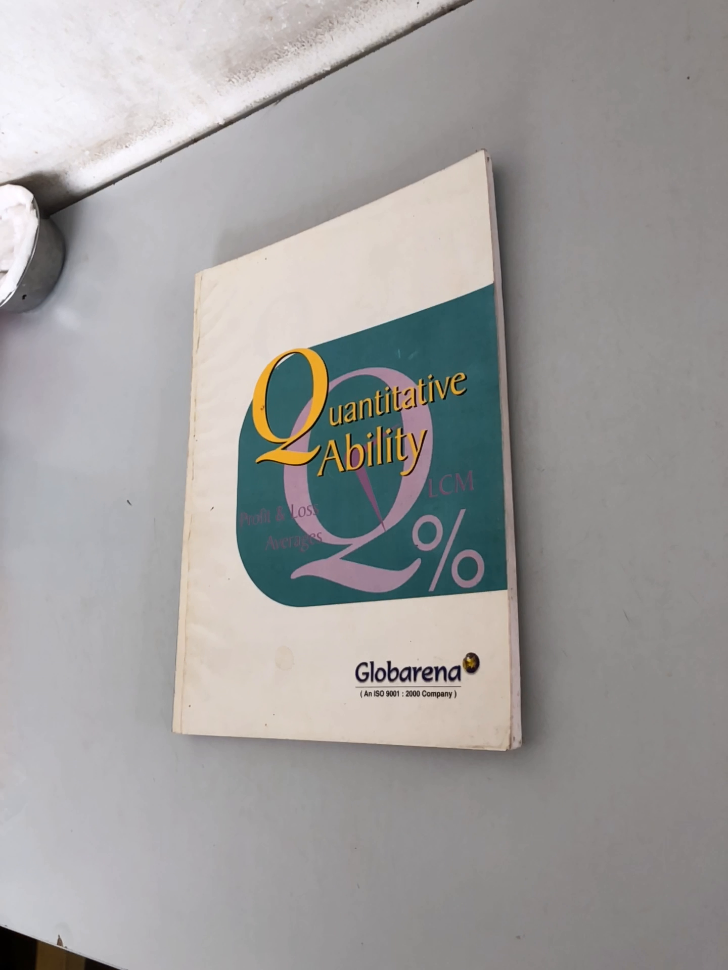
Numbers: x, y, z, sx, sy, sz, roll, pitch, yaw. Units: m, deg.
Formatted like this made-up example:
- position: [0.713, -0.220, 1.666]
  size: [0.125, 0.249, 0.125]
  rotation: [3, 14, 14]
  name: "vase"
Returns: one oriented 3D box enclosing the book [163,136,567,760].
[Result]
- position: [-0.012, -0.009, 0.362]
  size: [0.191, 0.020, 0.240]
  rotation: [-10, 74, 34]
  name: "book"
